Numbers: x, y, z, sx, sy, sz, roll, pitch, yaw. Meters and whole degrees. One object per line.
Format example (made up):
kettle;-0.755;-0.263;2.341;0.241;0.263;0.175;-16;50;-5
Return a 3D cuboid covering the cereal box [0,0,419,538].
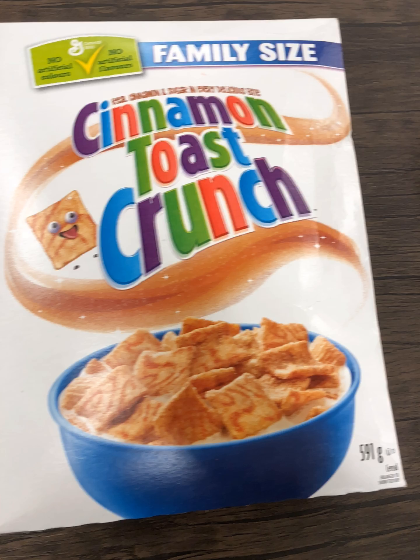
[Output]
cereal box;-0.015;-0.036;0.338;0.250;0.070;0.360;-4;79;-8
